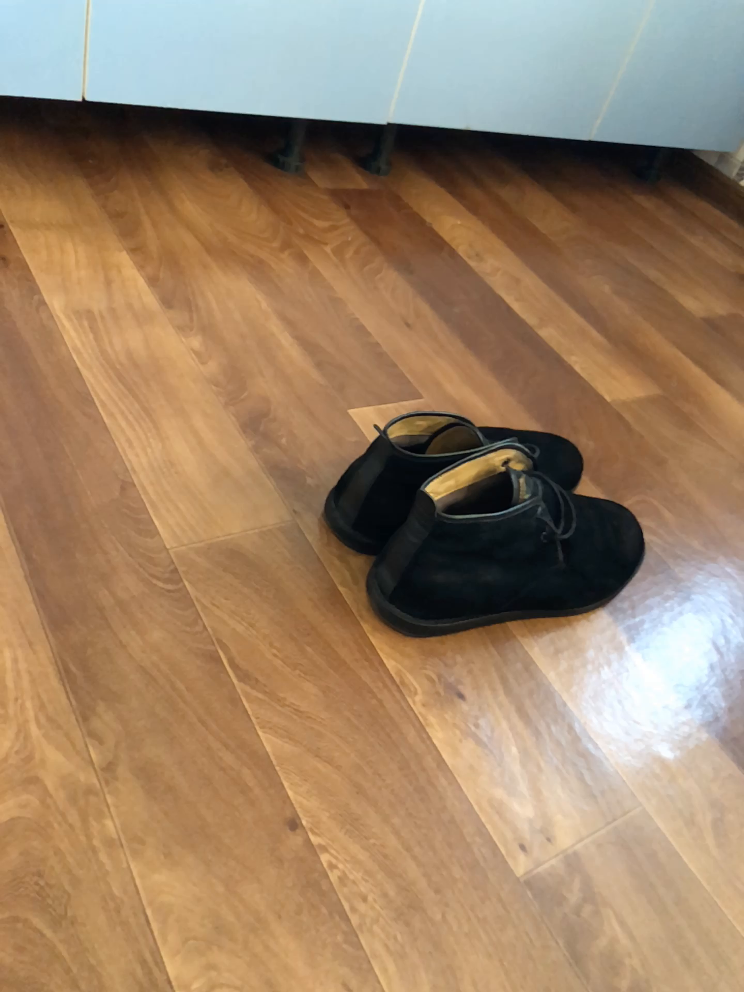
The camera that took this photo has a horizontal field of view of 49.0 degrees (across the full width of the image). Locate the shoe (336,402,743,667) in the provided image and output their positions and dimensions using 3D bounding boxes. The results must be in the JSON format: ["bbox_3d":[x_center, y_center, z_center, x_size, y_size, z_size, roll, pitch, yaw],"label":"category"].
[{"bbox_3d":[0.138,0.020,0.643,0.291,0.129,0.110,-8,48,-30],"label":"shoe"}]

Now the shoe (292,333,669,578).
[{"bbox_3d":[0.096,-0.045,0.709,0.291,0.129,0.110,-12,51,-33],"label":"shoe"}]
